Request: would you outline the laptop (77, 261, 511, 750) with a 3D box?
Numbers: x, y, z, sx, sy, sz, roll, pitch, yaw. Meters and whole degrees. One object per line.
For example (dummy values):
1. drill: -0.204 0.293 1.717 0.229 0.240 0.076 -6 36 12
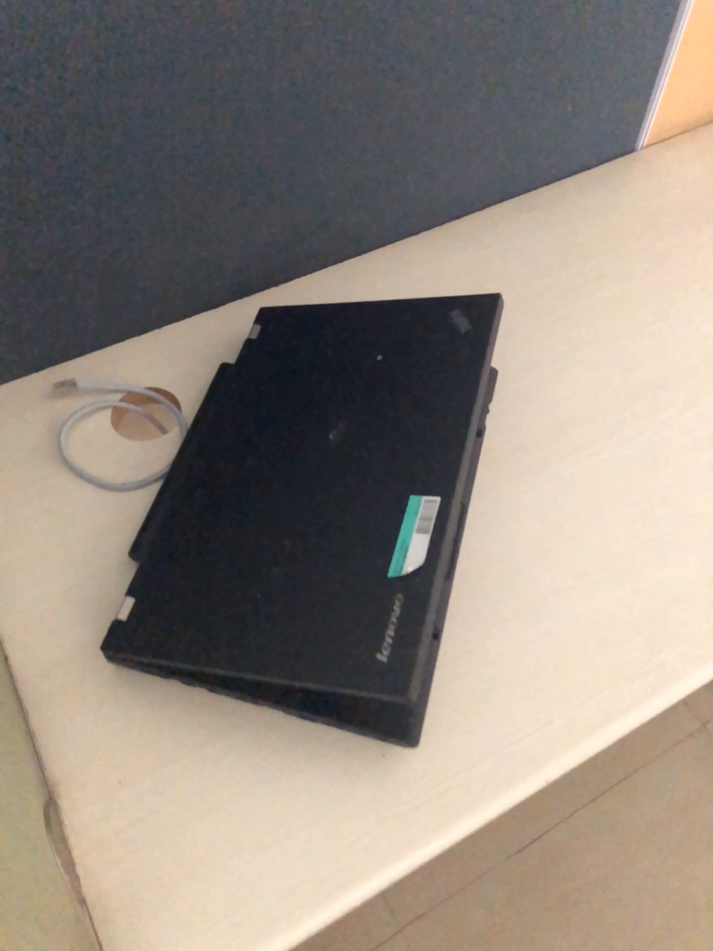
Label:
1. laptop: -0.024 -0.001 0.629 0.234 0.077 0.364 13 56 7
